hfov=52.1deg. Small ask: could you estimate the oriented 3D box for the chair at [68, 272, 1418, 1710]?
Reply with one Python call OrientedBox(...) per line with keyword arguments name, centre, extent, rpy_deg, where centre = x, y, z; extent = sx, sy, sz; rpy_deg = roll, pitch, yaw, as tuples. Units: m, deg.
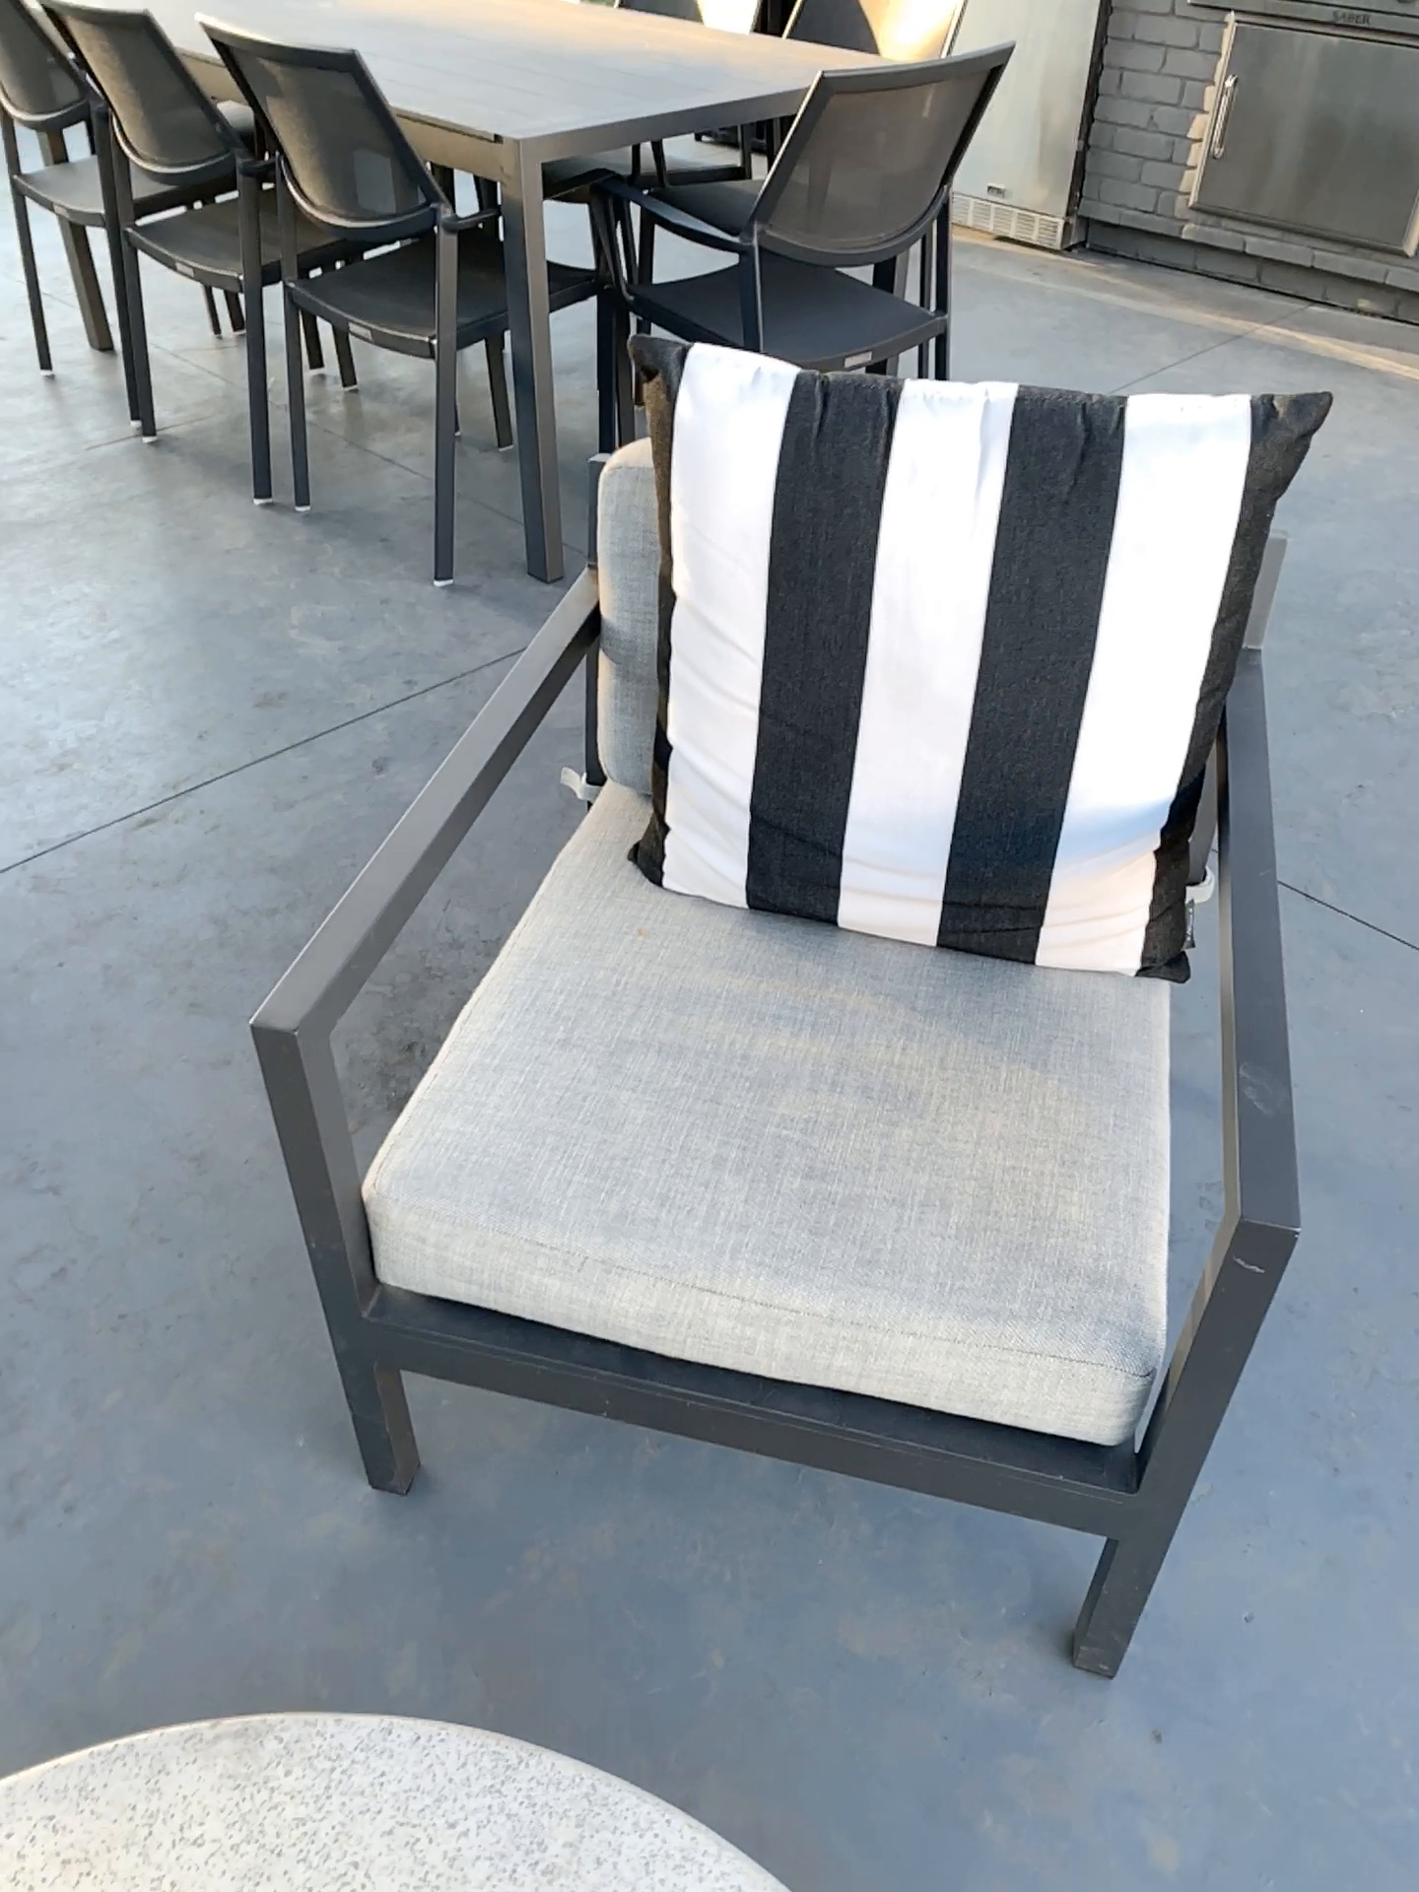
OrientedBox(name="chair", centre=(0.110, -0.010, 1.213), extent=(0.730, 0.796, 0.753), rpy_deg=(9, 40, 10))
